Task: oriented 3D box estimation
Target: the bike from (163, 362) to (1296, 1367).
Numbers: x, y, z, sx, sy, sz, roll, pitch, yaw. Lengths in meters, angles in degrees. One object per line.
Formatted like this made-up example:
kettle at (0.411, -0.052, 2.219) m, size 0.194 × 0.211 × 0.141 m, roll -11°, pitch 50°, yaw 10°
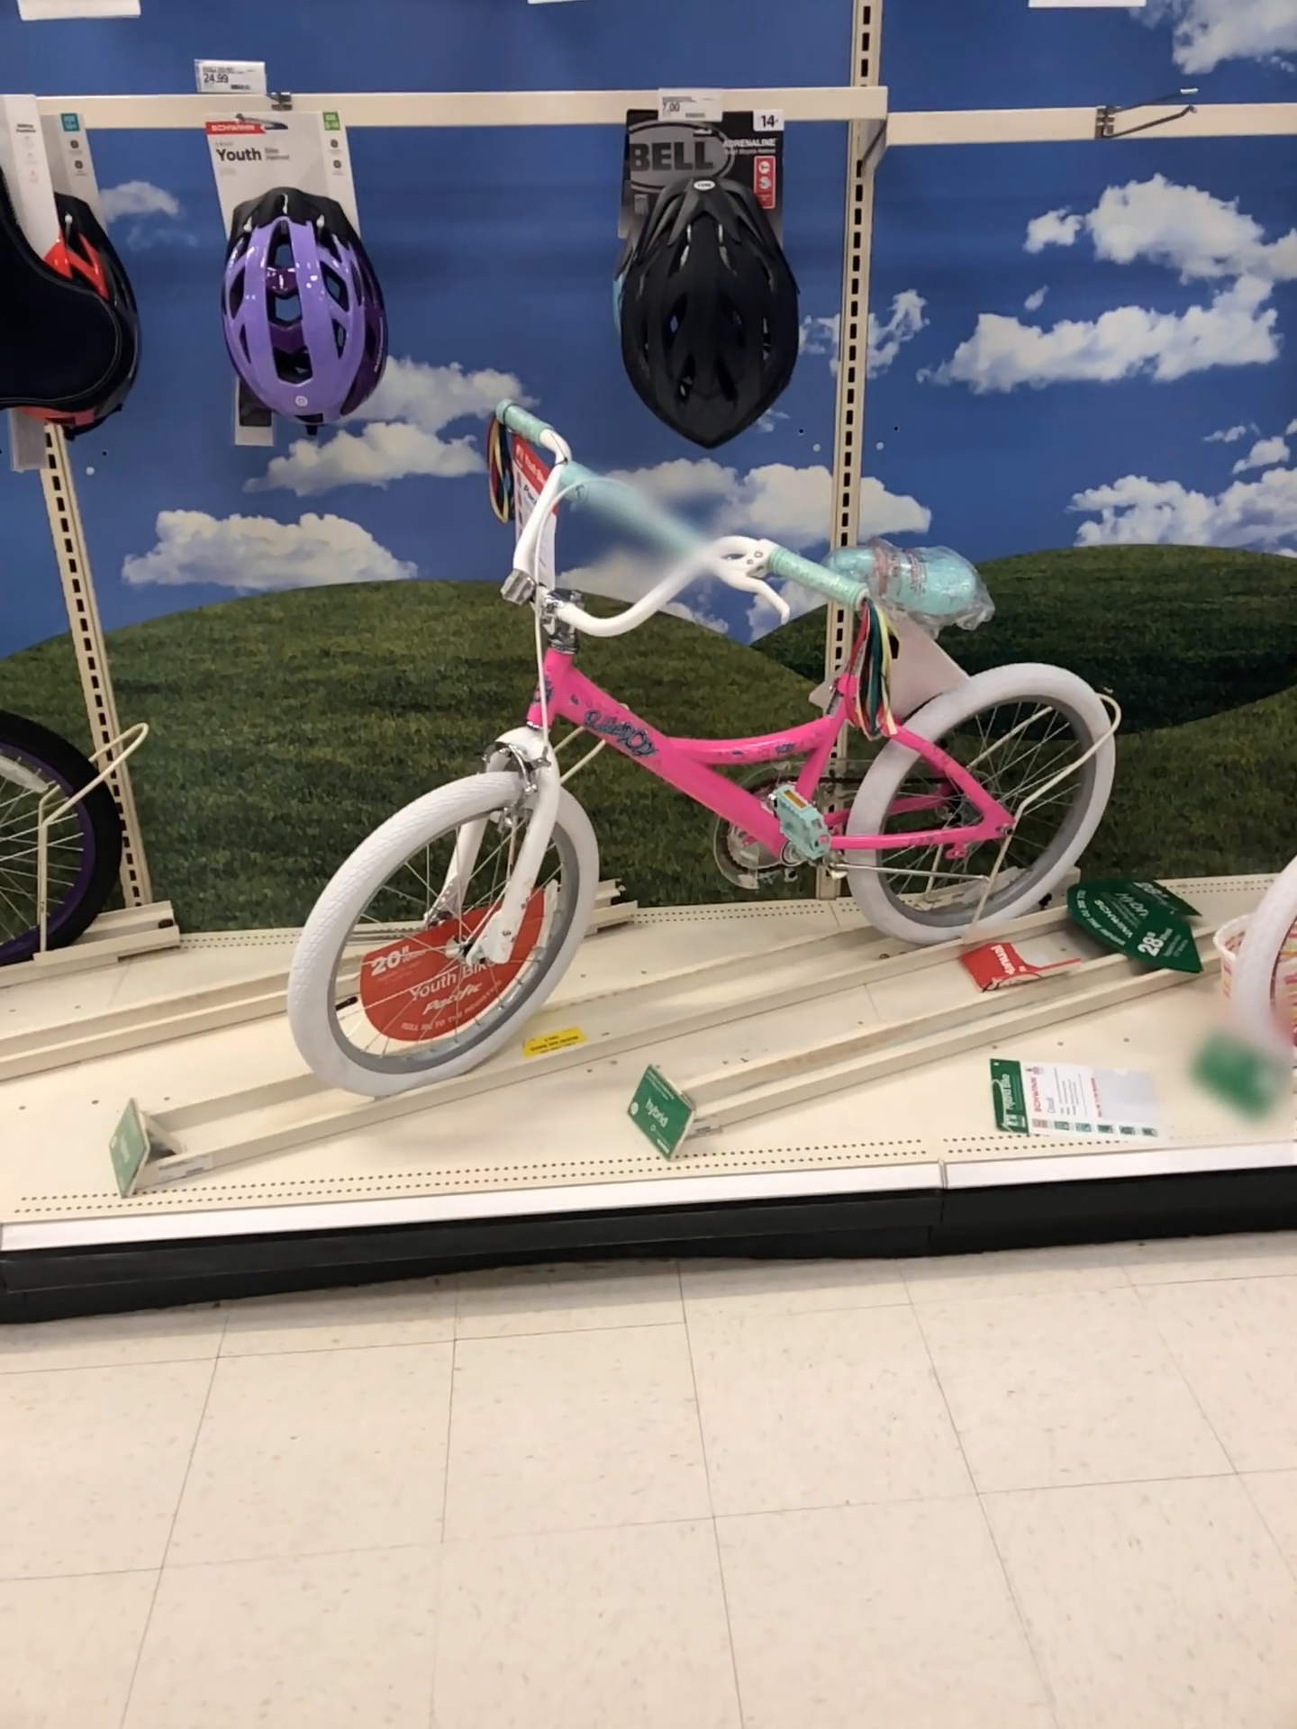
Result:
bike at (0.147, -0.125, 1.988) m, size 1.347 × 0.882 × 0.730 m, roll -15°, pitch 29°, yaw -22°
